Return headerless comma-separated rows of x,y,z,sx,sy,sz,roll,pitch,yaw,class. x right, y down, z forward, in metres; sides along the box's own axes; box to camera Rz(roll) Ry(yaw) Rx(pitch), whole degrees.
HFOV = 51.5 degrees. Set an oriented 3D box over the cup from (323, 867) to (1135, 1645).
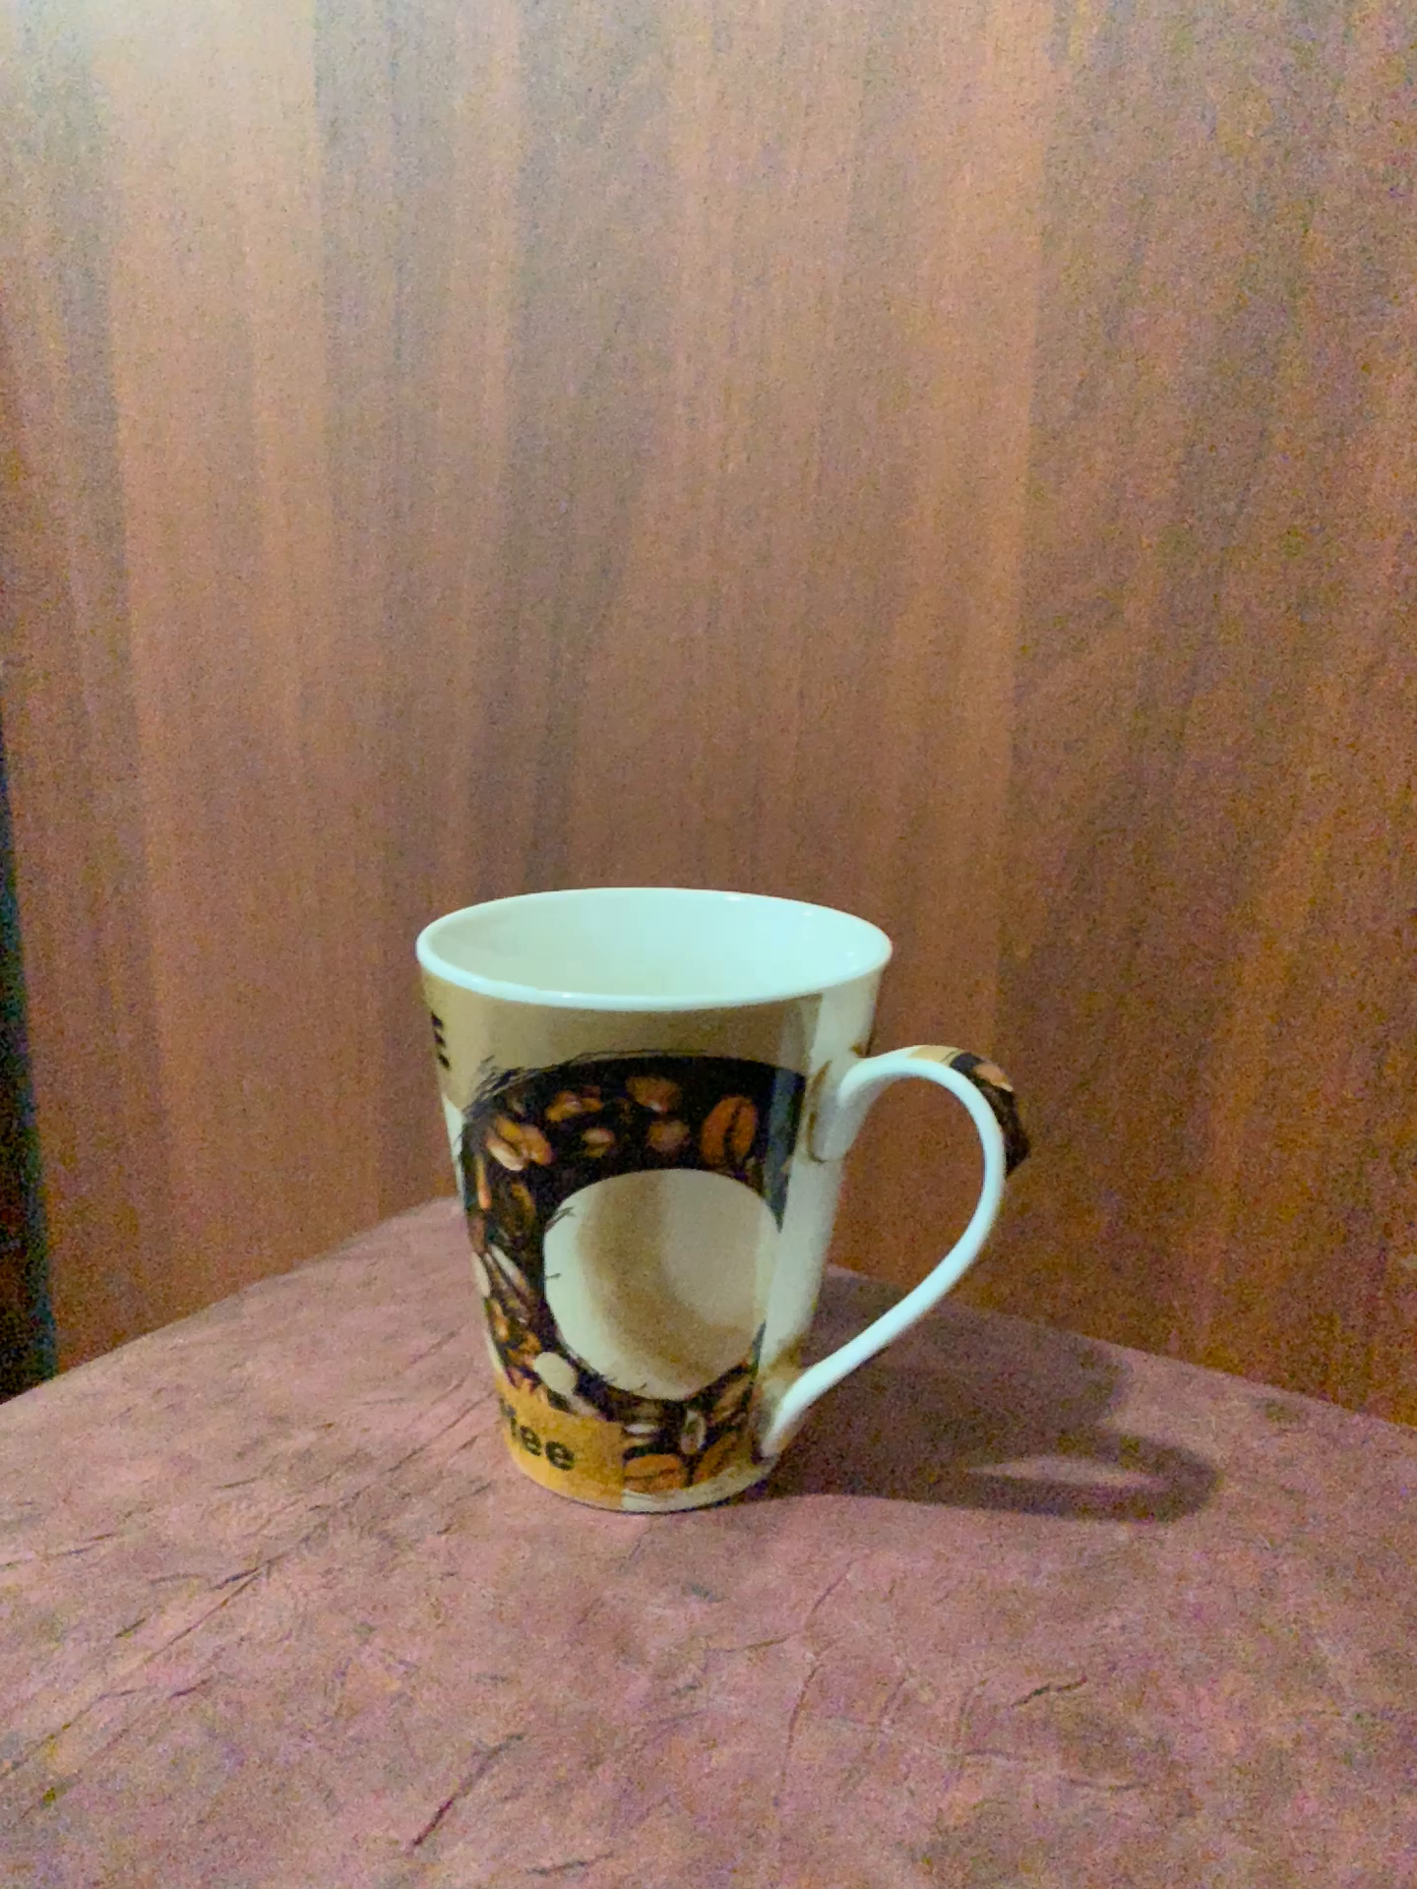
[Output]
0.006,0.044,0.282,0.119,0.092,0.095,9,15,30,cup
